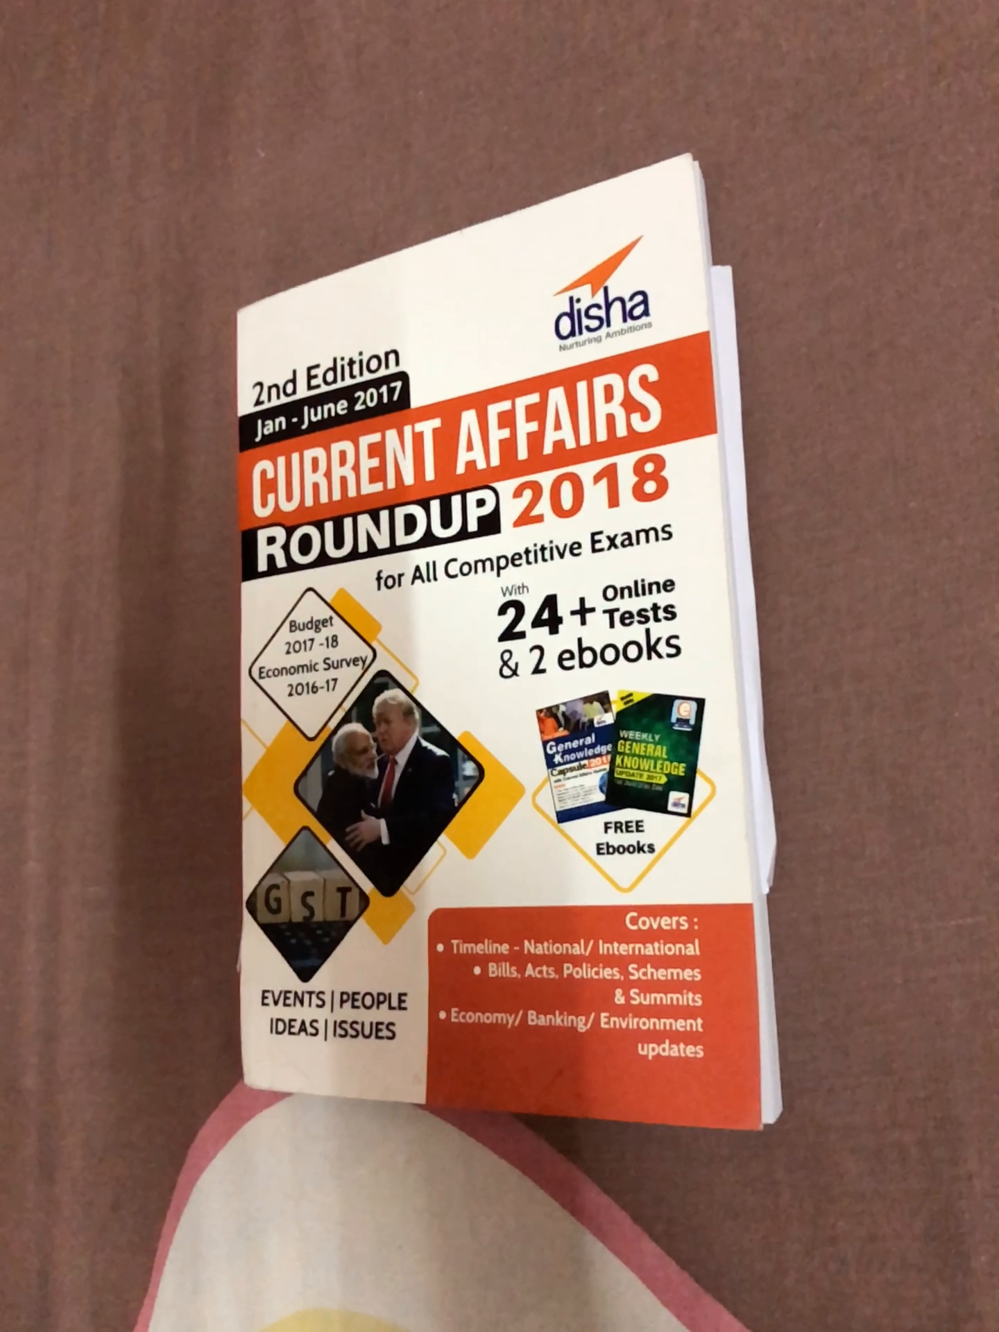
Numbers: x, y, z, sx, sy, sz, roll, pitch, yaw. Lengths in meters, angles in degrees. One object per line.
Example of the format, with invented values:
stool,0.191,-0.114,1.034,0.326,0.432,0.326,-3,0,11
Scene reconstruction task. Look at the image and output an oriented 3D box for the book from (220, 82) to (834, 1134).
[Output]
book,-0.002,-0.010,0.277,0.140,0.040,0.220,-7,79,28
